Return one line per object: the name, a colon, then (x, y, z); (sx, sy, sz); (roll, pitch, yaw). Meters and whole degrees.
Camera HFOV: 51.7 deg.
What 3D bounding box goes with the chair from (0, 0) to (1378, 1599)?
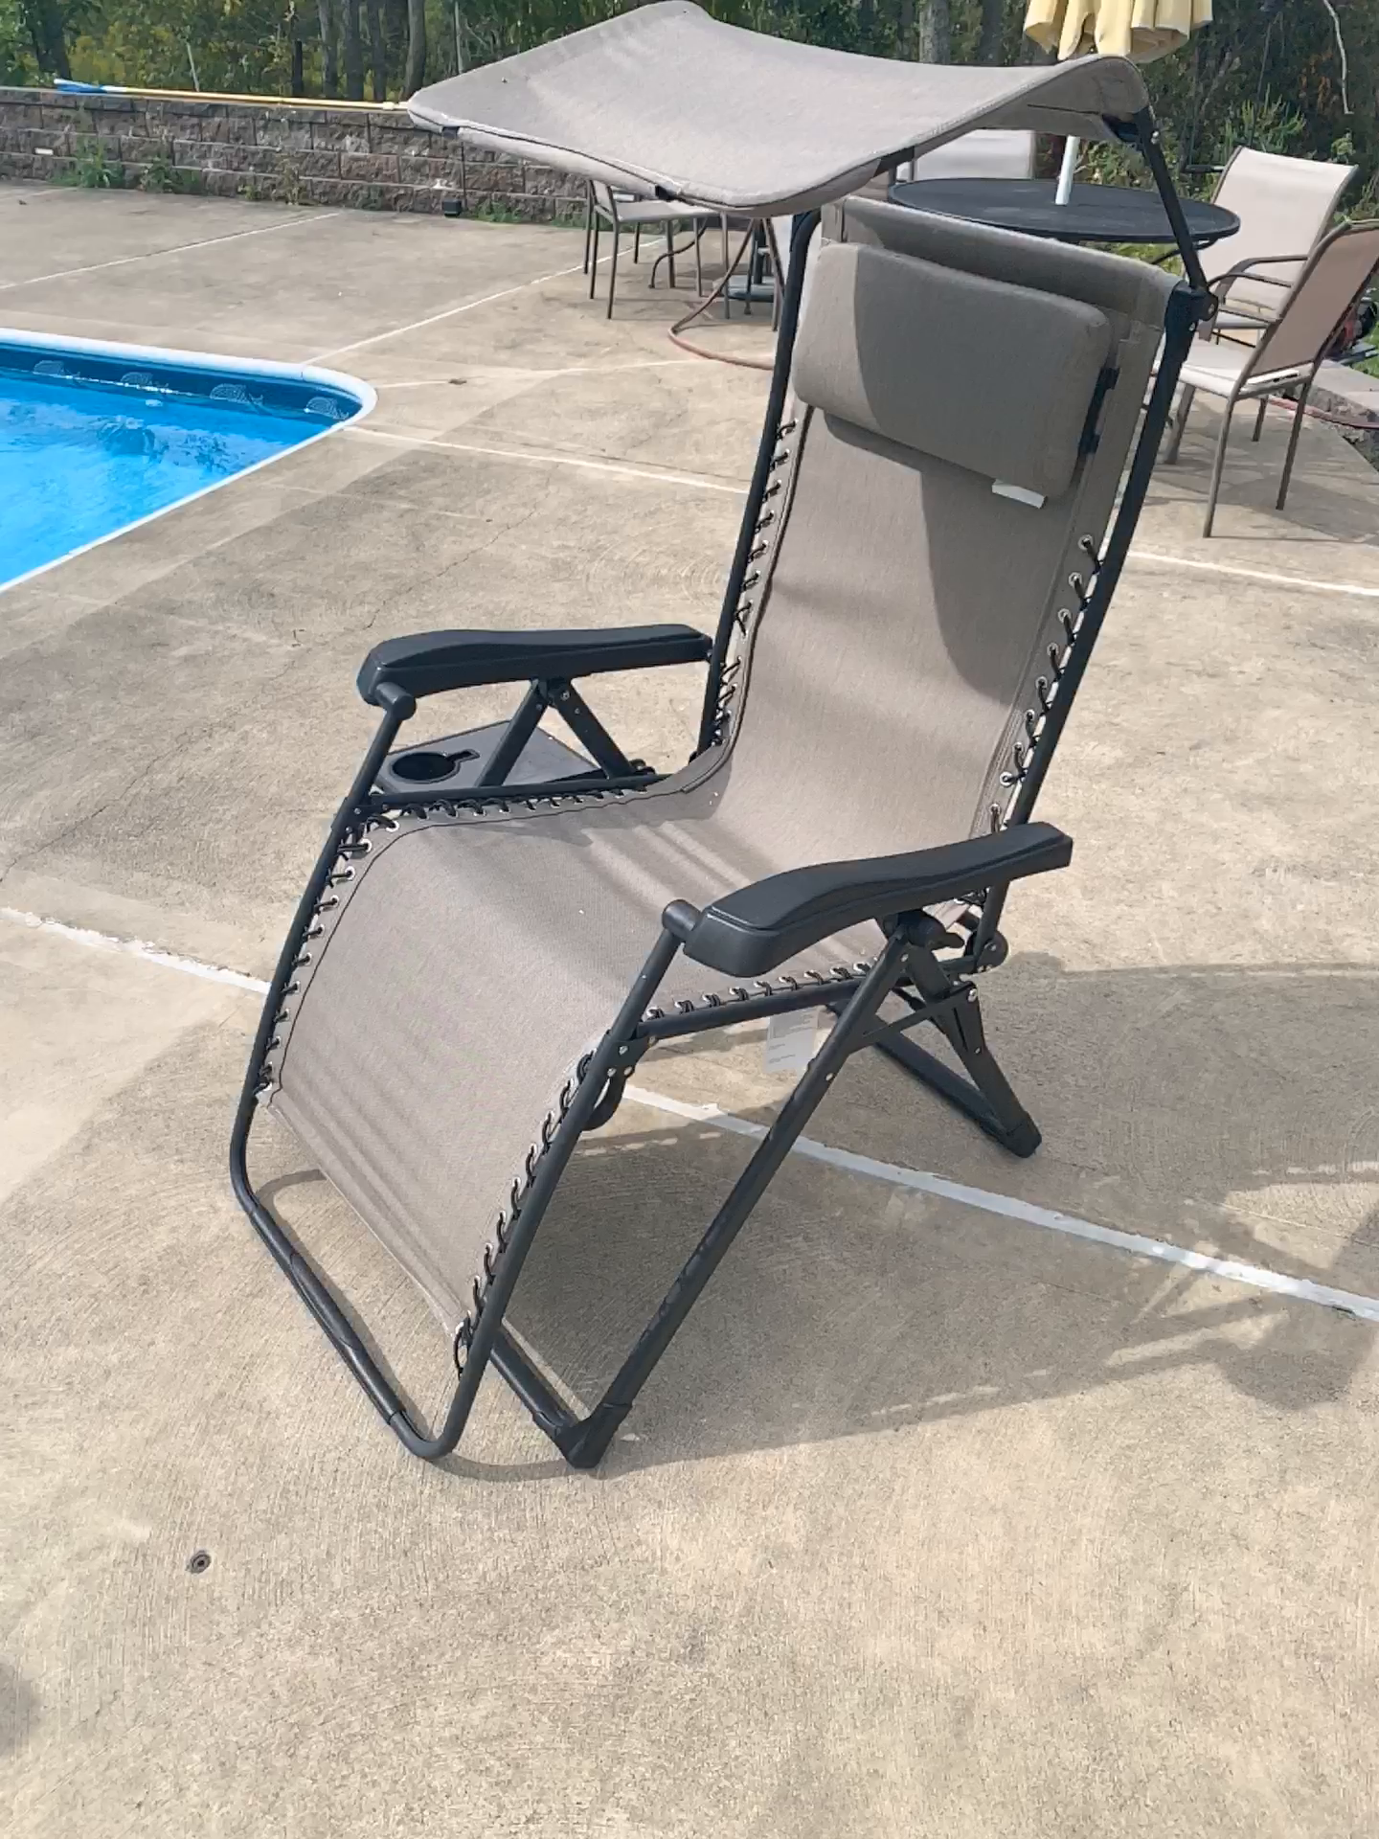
chair: (-0.180, -0.278, 1.472); (0.912, 1.138, 1.063); (-22, 40, -30)
